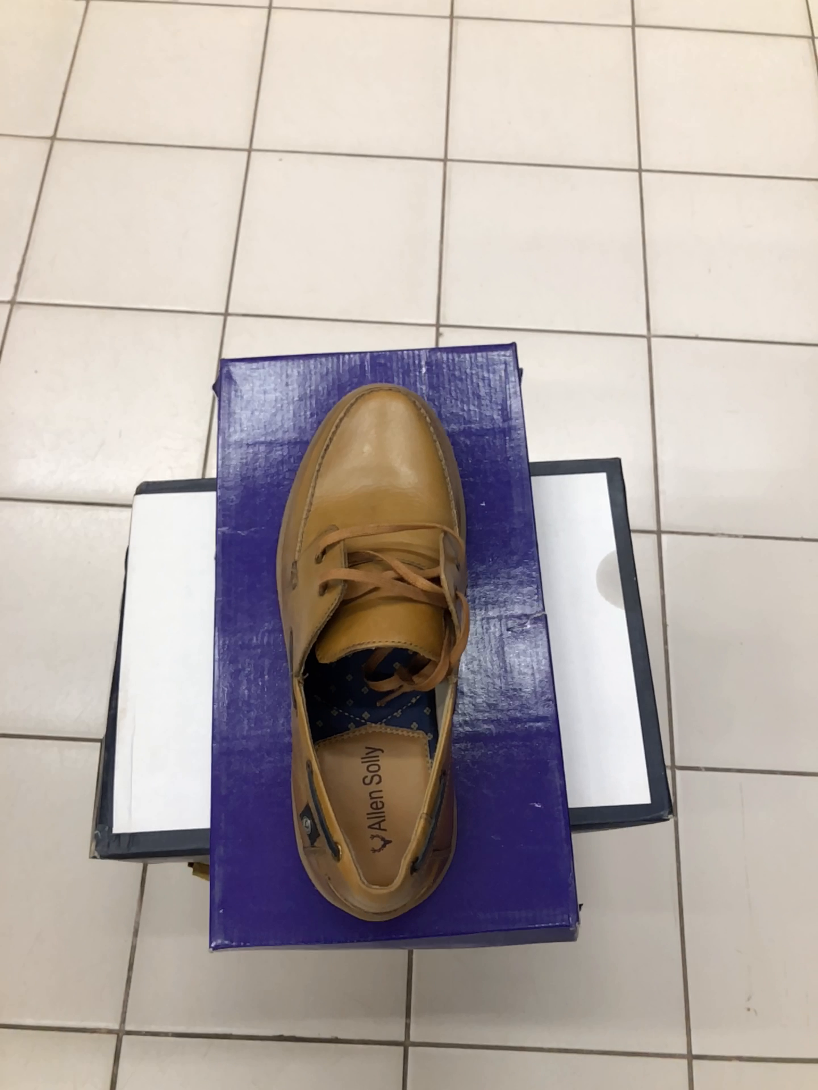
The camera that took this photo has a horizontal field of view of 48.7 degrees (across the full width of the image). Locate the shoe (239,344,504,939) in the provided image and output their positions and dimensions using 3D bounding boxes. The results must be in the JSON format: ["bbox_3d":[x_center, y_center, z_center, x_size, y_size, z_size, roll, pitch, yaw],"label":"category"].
[{"bbox_3d":[-0.017,0.045,0.438,0.100,0.110,0.260,0,69,-2],"label":"shoe"}]
